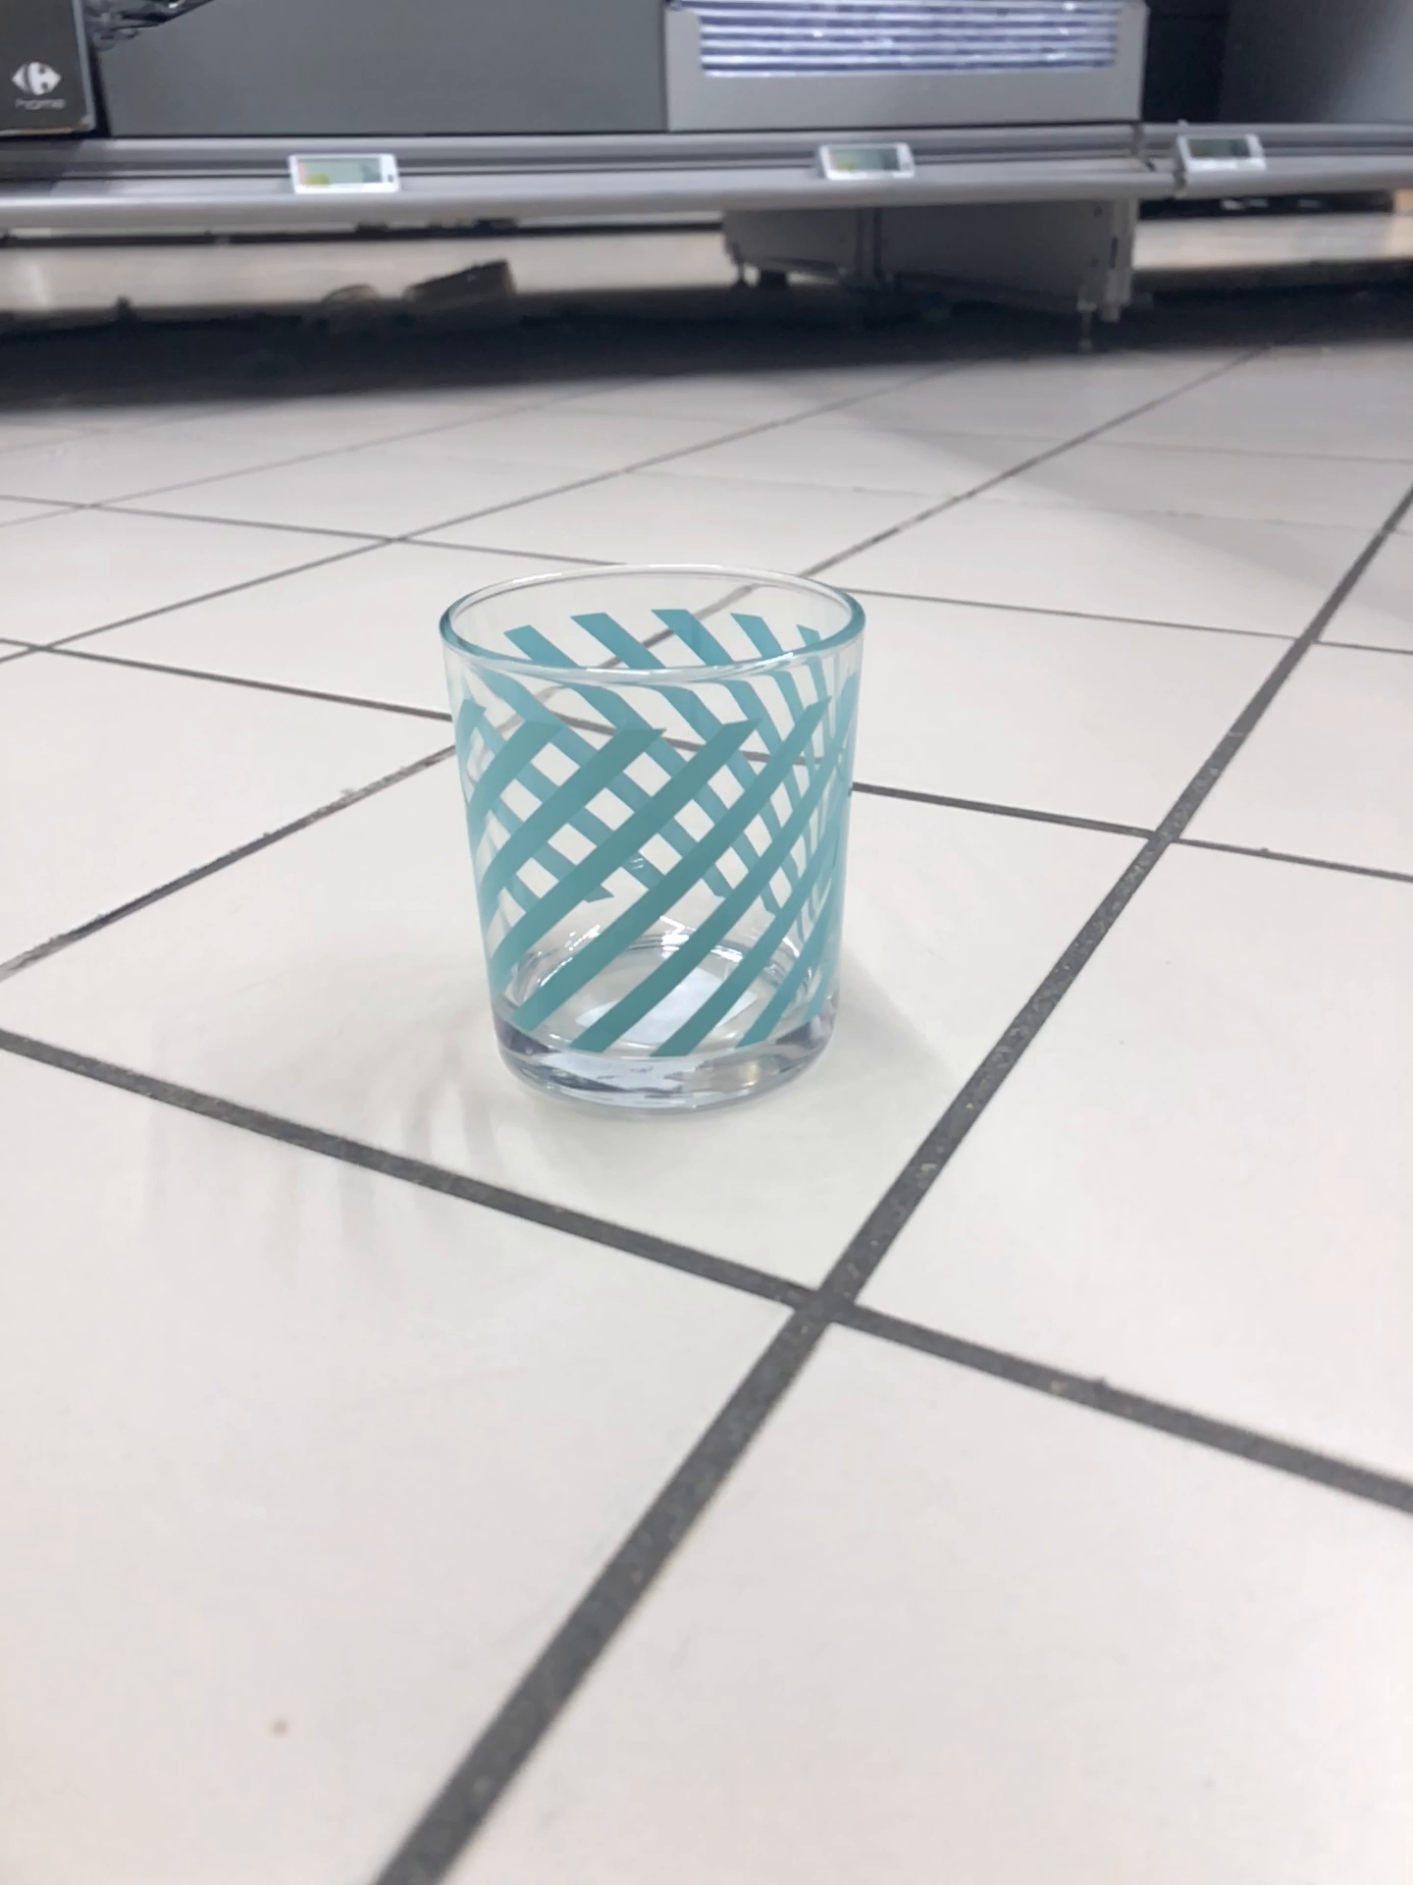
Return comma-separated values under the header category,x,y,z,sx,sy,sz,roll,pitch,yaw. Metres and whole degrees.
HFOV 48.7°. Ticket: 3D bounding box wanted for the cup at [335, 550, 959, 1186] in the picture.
category,x,y,z,sx,sy,sz,roll,pitch,yaw
cup,-0.010,-0.020,0.290,0.076,0.080,0.079,-1,26,1
